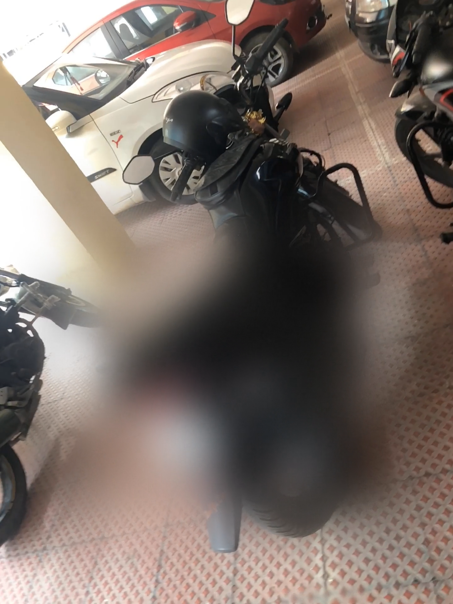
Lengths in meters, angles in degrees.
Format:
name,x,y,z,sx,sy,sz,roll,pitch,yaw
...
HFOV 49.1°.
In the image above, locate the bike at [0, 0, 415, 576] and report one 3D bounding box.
name,x,y,z,sx,sy,sz,roll,pitch,yaw
bike,0.001,-0.169,1.868,0.805,1.200,1.689,-17,36,25
